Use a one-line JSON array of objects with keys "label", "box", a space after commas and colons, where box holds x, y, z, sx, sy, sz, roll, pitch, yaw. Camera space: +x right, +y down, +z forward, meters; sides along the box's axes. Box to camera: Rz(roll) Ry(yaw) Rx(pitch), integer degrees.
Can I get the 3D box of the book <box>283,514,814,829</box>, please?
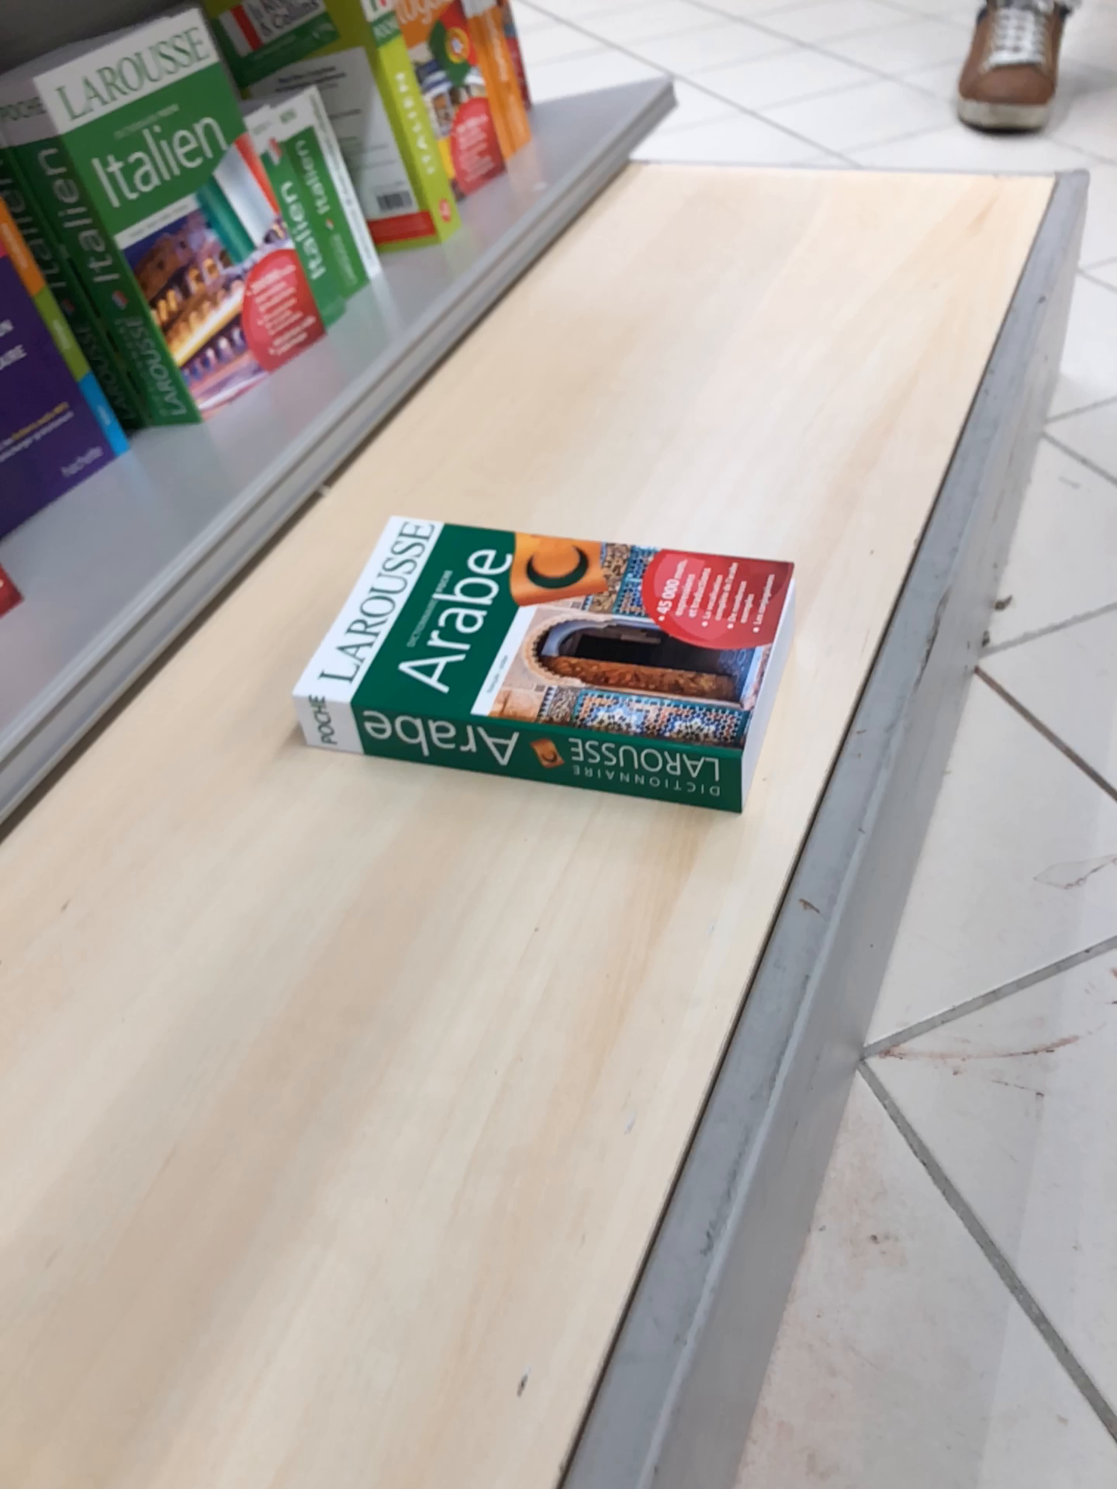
[{"label": "book", "box": [0.001, -0.036, 0.498, 0.182, 0.045, 0.112, 9, 44, 18]}]
